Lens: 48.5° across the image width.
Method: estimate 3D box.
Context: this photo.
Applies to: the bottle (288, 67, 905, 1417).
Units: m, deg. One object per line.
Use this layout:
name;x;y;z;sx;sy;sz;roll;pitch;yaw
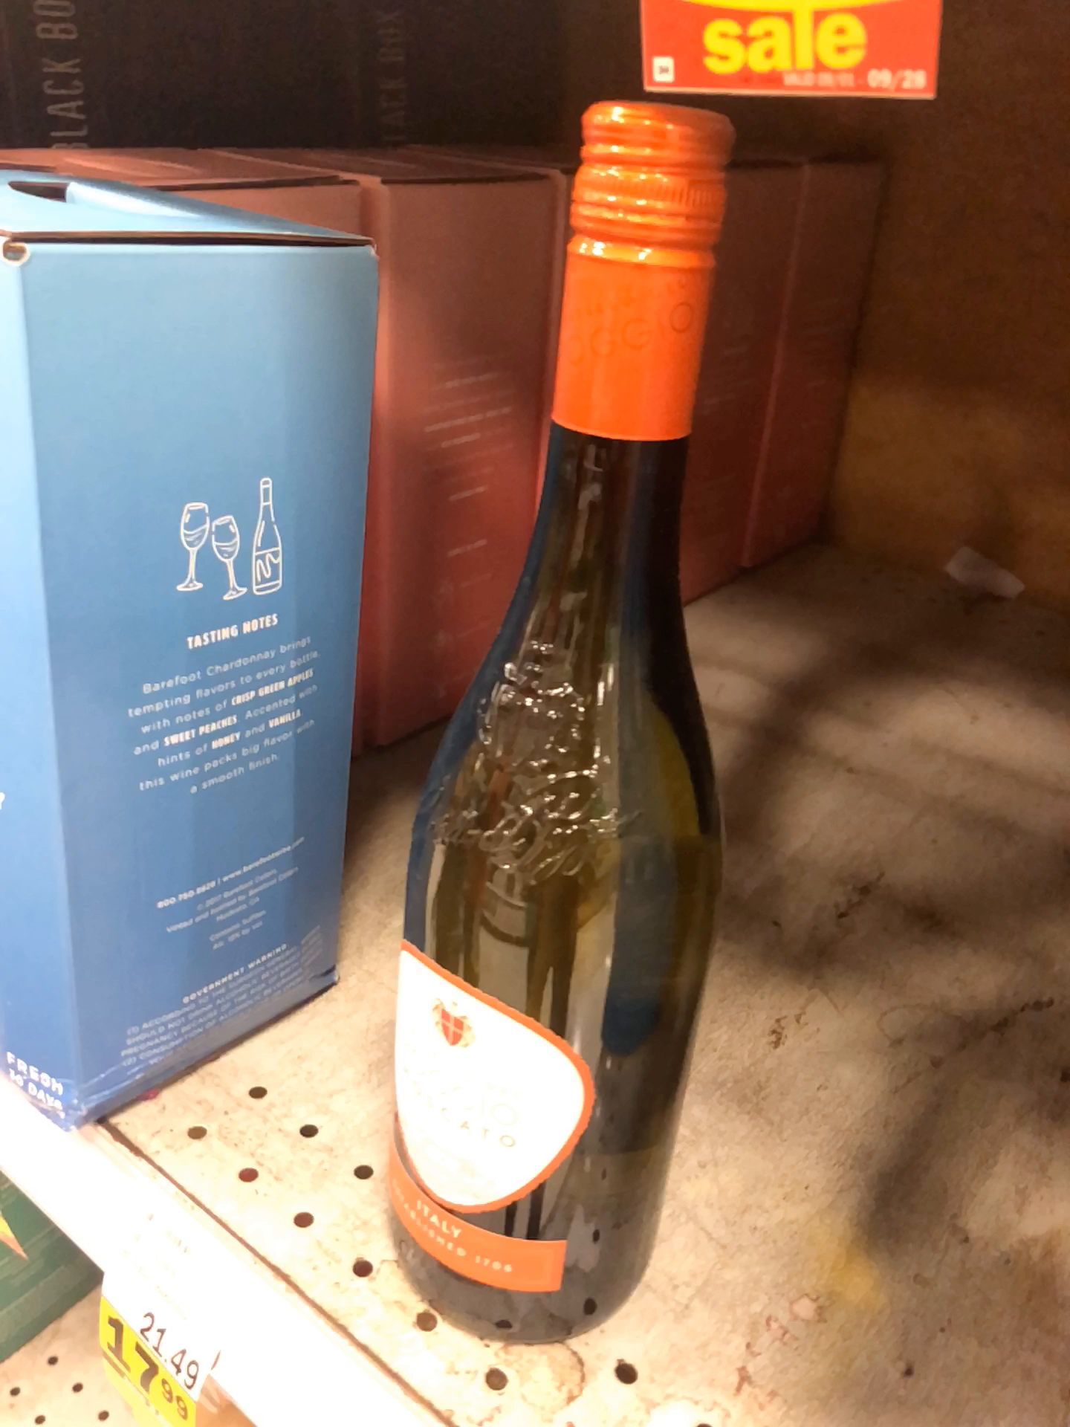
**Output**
bottle;0.005;0.023;0.275;0.080;0.299;0.070;21;34;30
